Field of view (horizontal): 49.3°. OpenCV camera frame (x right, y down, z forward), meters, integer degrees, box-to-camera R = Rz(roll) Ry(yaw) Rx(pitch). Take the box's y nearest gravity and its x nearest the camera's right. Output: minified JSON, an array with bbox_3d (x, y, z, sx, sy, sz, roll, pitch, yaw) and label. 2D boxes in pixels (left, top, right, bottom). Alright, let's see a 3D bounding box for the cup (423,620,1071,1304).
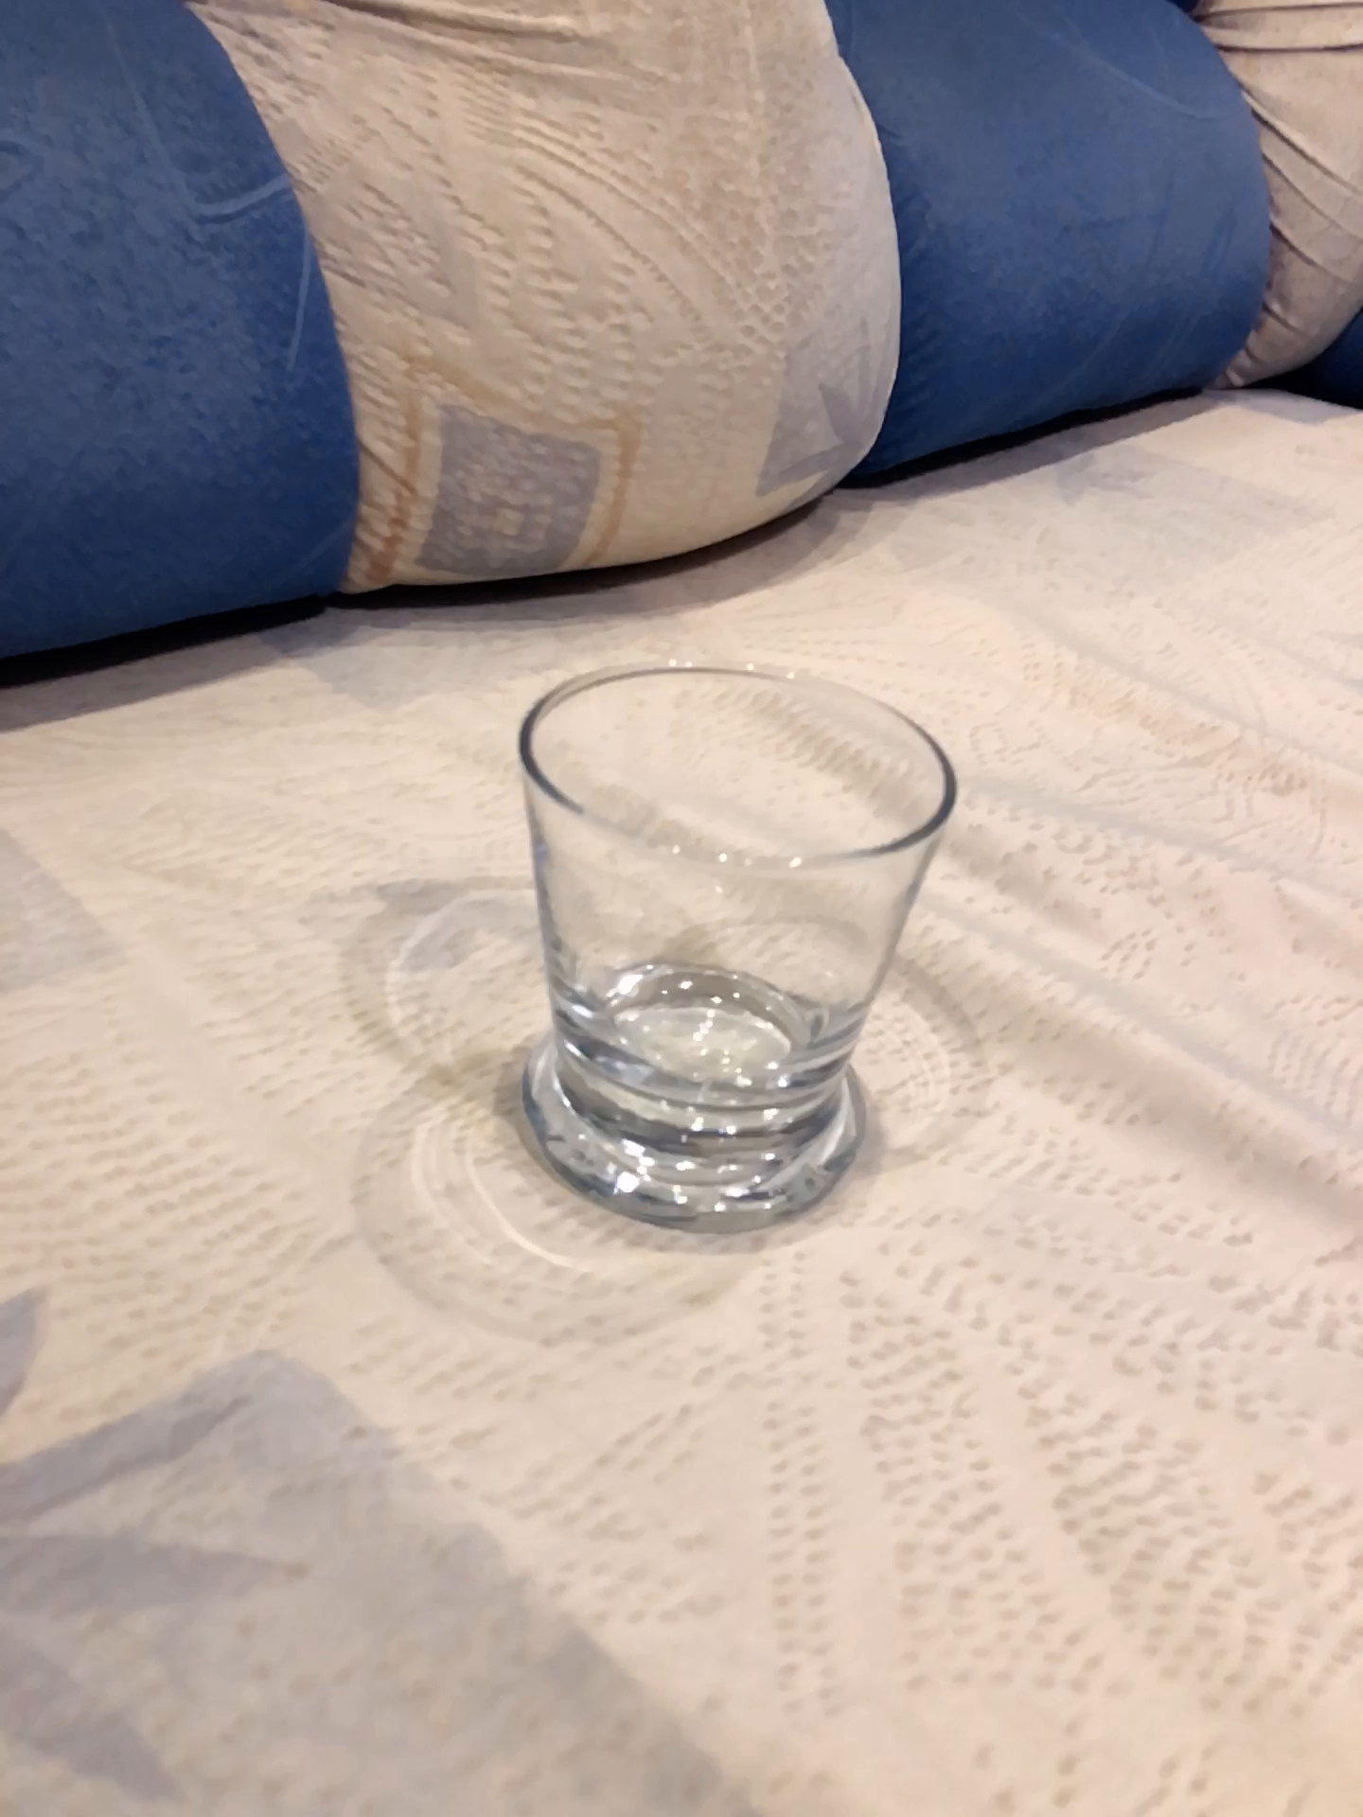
[{"bbox_3d":[0.007,0.004,0.295,0.085,0.083,0.087,4,33,-3],"label":"cup"}]
